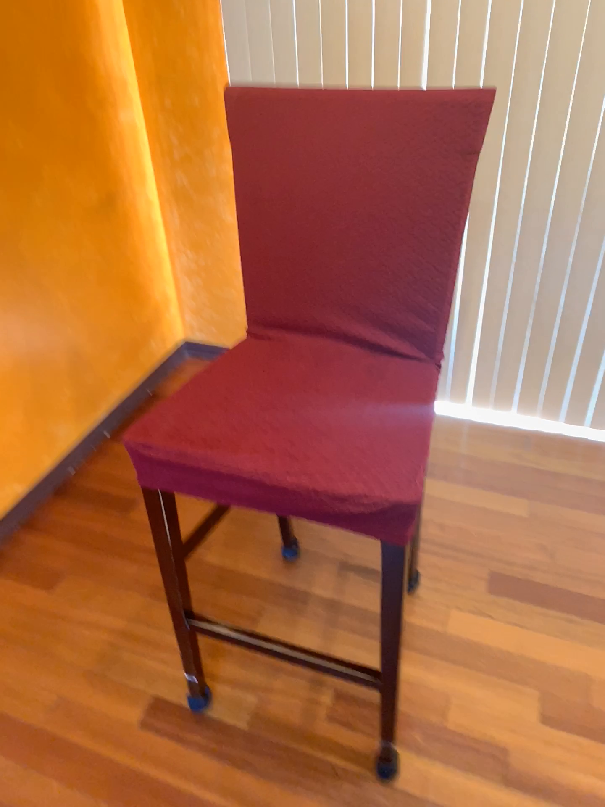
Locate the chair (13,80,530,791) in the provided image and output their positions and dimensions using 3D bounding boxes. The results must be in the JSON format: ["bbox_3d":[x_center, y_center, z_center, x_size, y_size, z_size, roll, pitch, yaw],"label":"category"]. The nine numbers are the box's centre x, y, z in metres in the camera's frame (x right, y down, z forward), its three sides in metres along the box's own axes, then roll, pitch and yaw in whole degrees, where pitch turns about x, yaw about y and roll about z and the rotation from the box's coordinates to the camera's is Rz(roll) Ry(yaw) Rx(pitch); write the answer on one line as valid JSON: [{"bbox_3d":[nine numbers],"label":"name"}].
[{"bbox_3d":[0.033,0.071,1.047,0.472,1.026,0.505,10,37,17],"label":"chair"}]
